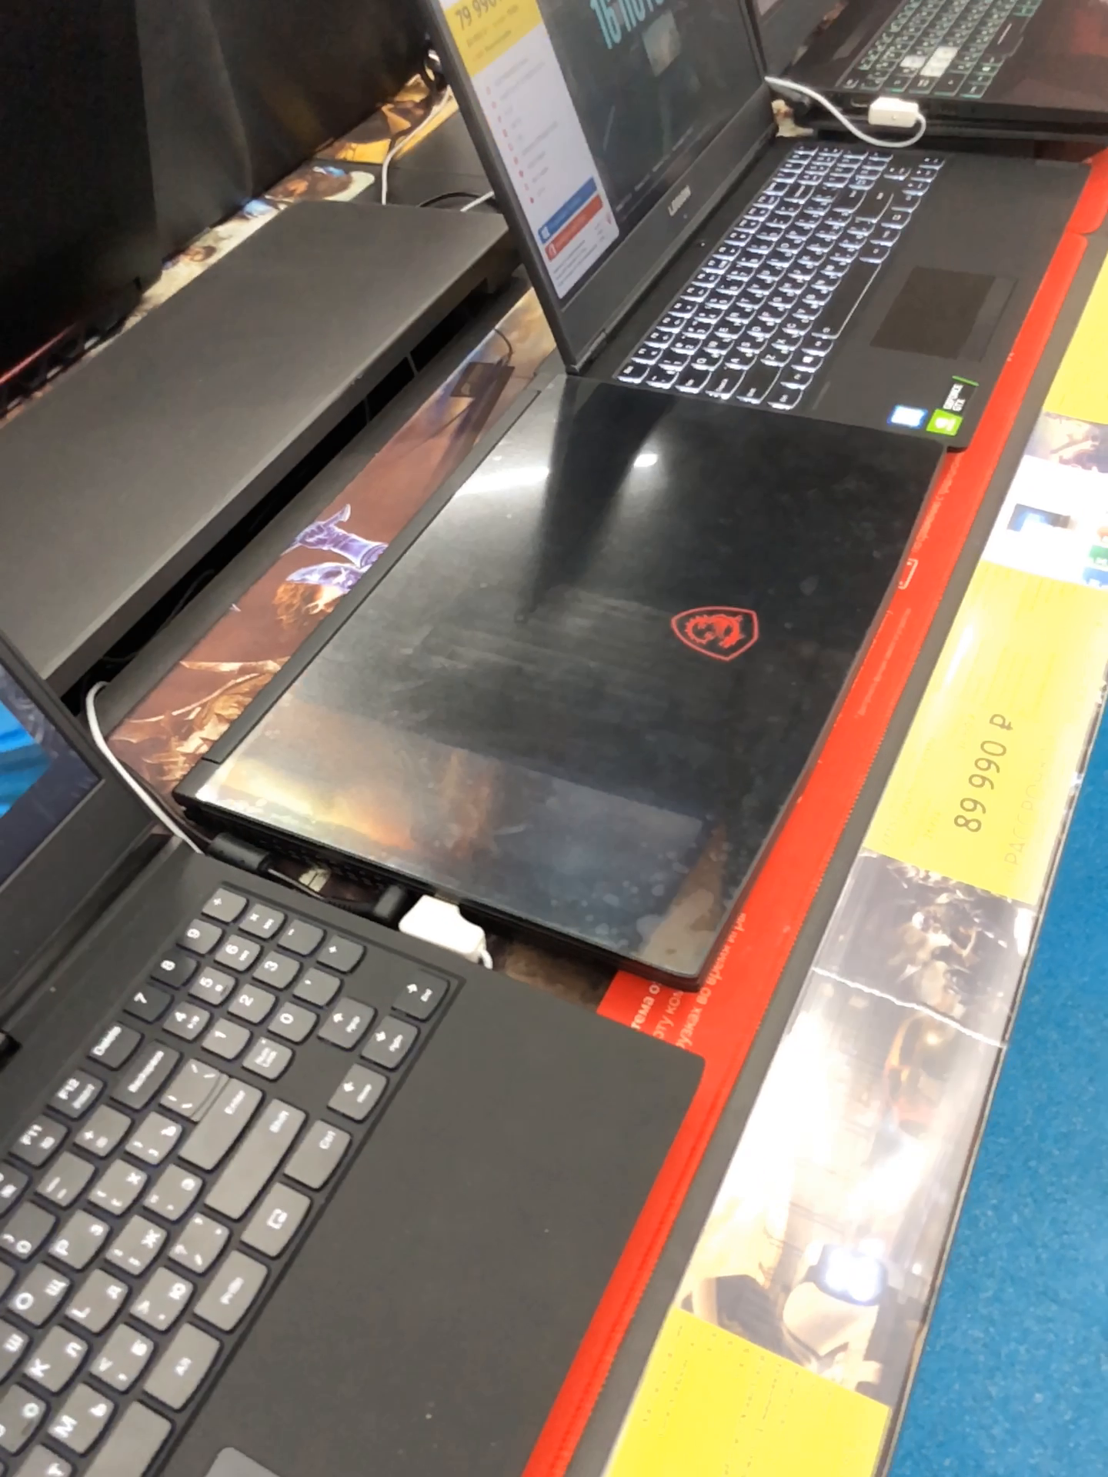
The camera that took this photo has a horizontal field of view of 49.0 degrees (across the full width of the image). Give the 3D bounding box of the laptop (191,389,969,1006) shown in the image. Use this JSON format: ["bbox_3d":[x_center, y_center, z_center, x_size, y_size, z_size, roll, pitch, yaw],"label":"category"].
[{"bbox_3d":[0.030,-0.056,0.579,0.239,0.002,0.354,16,52,22],"label":"laptop"}]
